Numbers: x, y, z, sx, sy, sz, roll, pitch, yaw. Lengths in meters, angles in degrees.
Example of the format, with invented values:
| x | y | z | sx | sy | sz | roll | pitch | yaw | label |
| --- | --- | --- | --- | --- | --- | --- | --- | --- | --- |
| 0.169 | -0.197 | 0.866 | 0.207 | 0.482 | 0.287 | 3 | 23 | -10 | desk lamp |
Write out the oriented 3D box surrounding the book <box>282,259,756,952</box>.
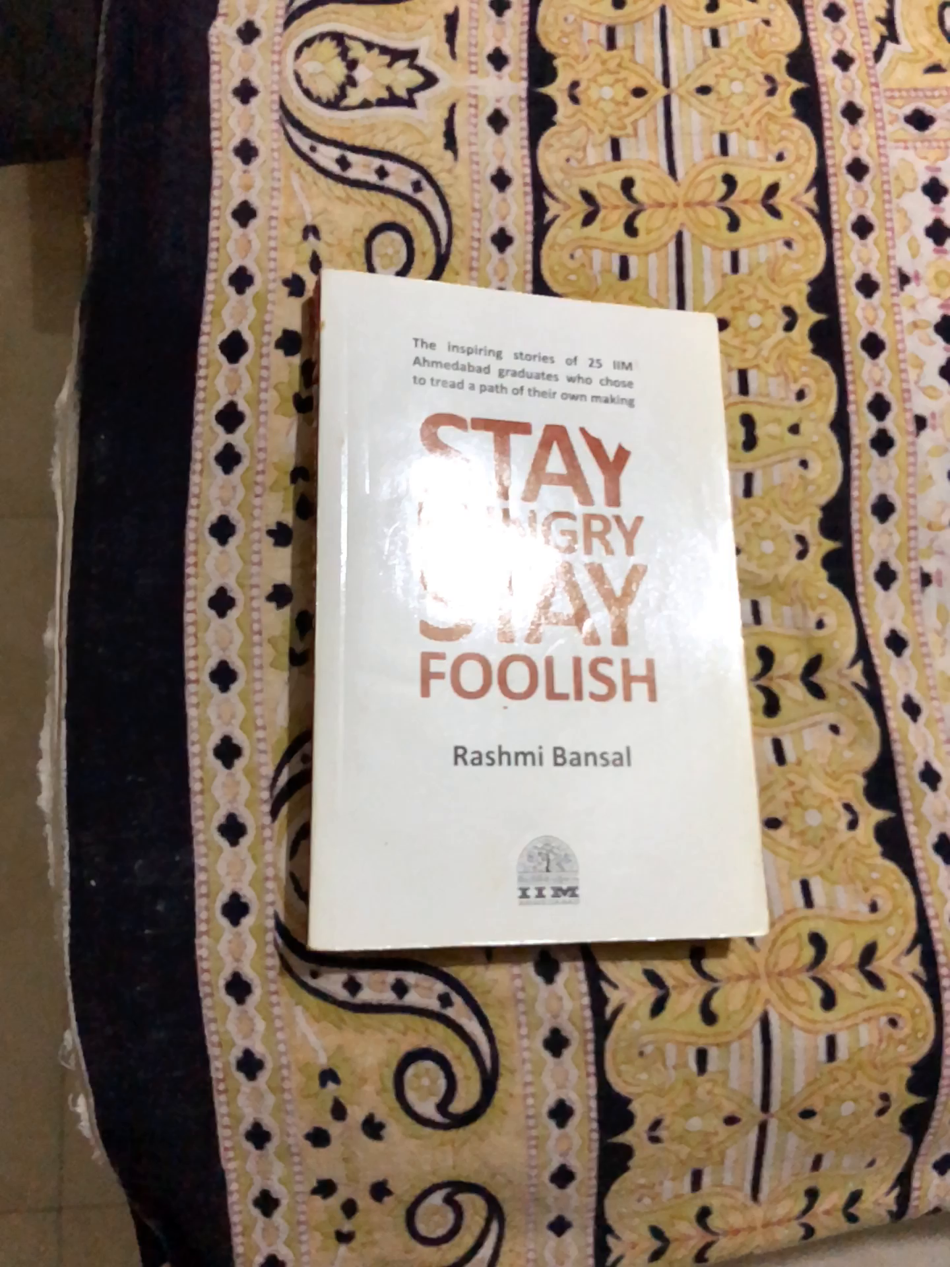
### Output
| x | y | z | sx | sy | sz | roll | pitch | yaw | label |
| --- | --- | --- | --- | --- | --- | --- | --- | --- | --- |
| 0.013 | -0.008 | 0.347 | 0.140 | 0.040 | 0.210 | 3 | 78 | -12 | book |
